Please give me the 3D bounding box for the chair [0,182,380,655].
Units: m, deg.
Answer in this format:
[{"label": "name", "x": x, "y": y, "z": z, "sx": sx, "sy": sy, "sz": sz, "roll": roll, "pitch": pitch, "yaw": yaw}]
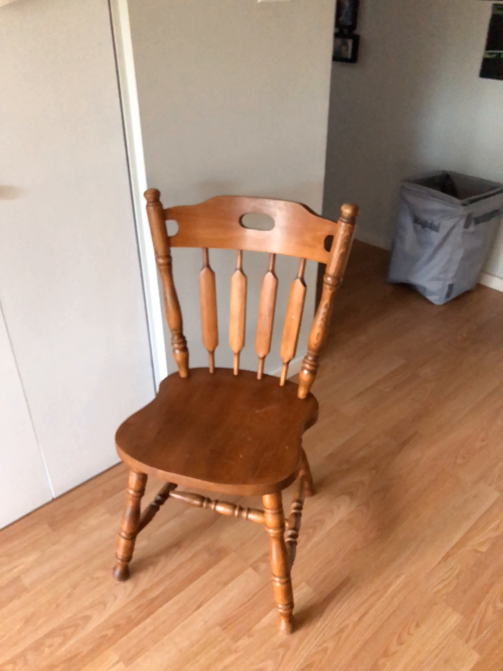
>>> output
[{"label": "chair", "x": -0.068, "y": 0.155, "z": 1.312, "sx": 0.560, "sy": 0.817, "sz": 0.592, "roll": 10, "pitch": 33, "yaw": 15}]
